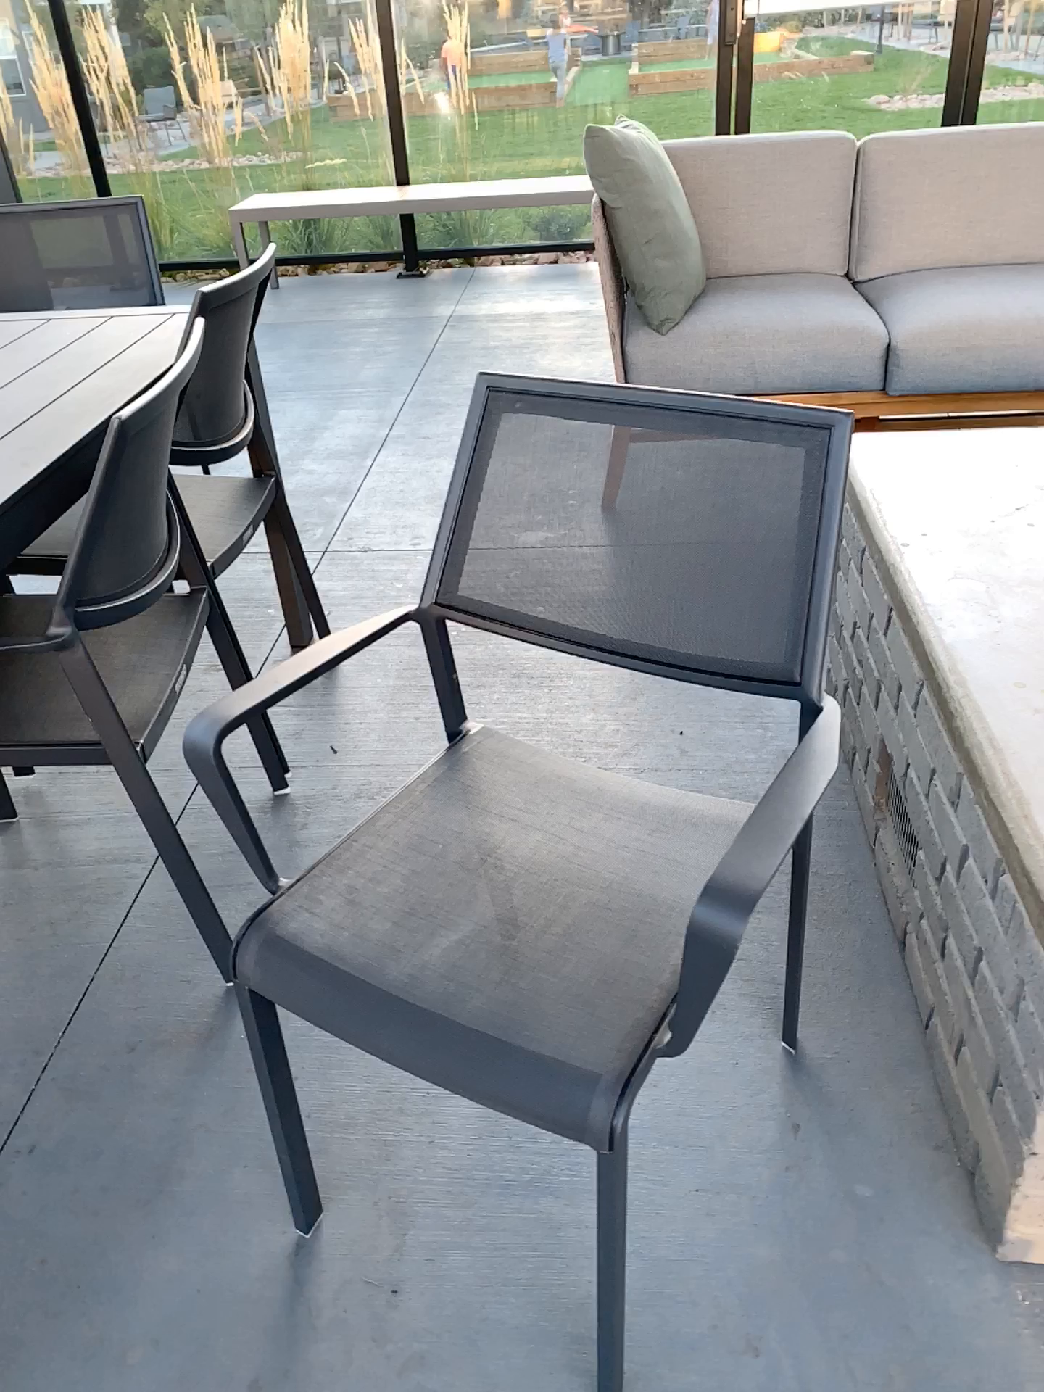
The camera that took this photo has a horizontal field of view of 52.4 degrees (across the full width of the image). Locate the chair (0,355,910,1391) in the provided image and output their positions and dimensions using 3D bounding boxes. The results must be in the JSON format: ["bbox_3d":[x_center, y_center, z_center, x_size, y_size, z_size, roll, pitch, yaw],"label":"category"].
[{"bbox_3d":[0.012,0.159,1.088,0.511,0.806,0.612,14,37,27],"label":"chair"}]
